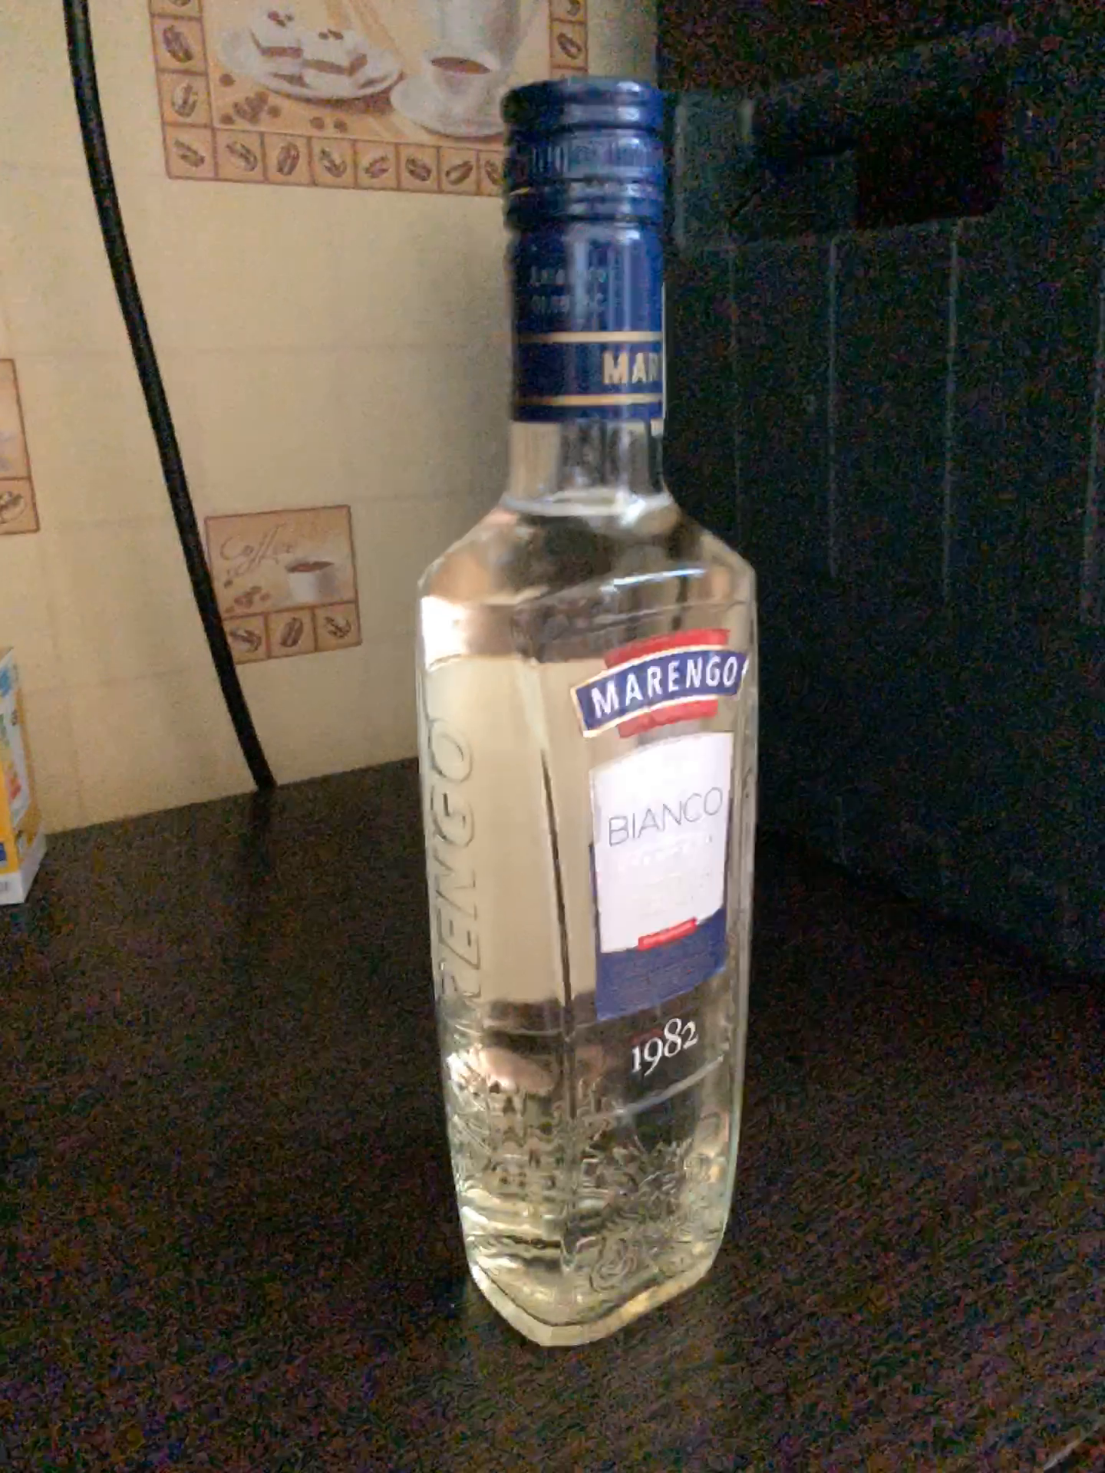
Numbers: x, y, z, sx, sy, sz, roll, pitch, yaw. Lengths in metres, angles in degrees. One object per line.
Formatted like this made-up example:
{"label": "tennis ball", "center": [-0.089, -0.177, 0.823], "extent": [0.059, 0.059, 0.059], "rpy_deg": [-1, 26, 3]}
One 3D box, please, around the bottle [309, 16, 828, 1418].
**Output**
{"label": "bottle", "center": [0.006, 0.008, 0.269], "extent": [0.090, 0.289, 0.050], "rpy_deg": [-12, 20, -31]}
